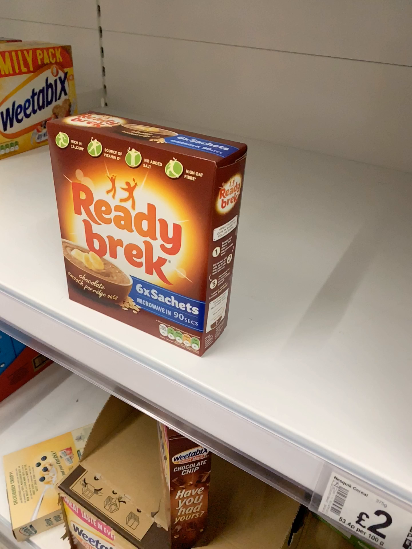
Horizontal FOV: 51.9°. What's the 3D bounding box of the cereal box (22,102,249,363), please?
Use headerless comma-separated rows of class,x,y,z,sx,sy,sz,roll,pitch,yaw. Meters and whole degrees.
cereal box,-0.065,-0.041,0.390,0.180,0.188,0.060,20,36,23
